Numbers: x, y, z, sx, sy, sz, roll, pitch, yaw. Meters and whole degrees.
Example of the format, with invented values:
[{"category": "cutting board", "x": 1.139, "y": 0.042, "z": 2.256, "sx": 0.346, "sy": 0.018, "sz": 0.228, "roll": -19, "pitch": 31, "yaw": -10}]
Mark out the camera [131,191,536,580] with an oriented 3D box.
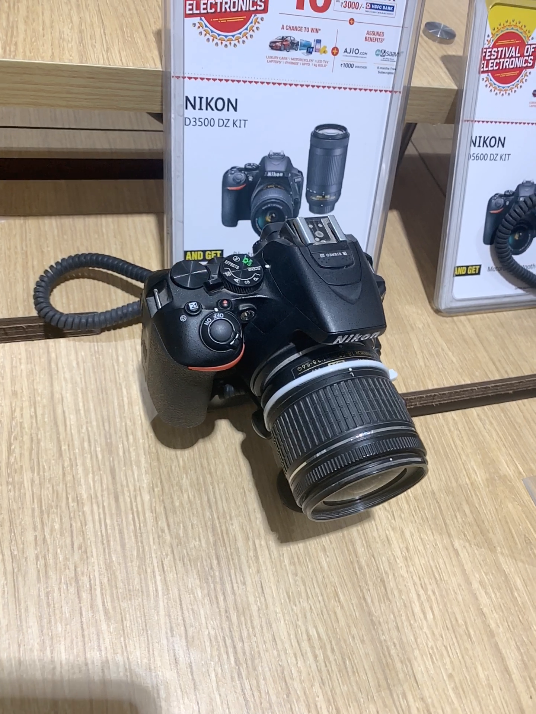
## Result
[{"category": "camera", "x": 0.016, "y": 0.008, "z": 0.243, "sx": 0.130, "sy": 0.100, "sz": 0.120, "roll": -7, "pitch": 58, "yaw": -19}]
